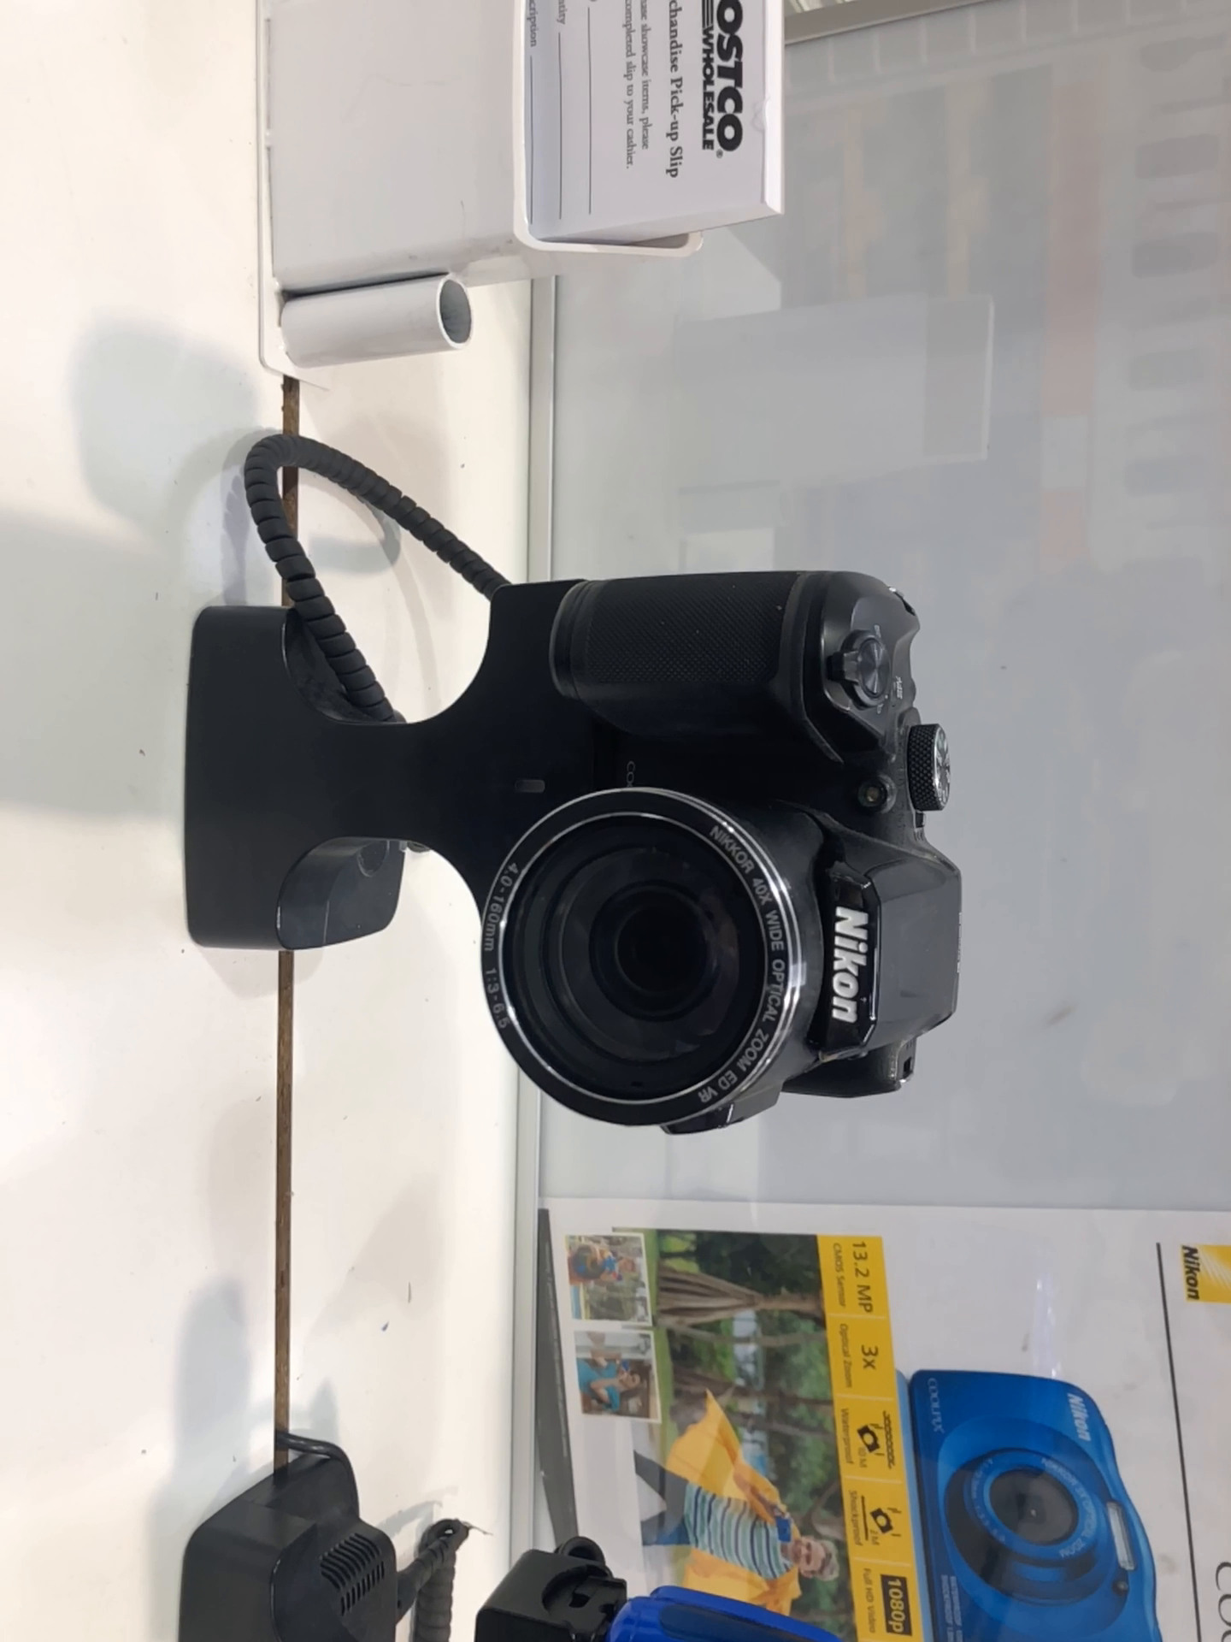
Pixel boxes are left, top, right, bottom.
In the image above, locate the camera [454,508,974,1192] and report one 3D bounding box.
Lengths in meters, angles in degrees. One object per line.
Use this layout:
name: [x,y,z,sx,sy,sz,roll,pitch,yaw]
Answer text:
camera: [0.027,0.002,0.292,0.101,0.079,0.116,-9,99,-65]
